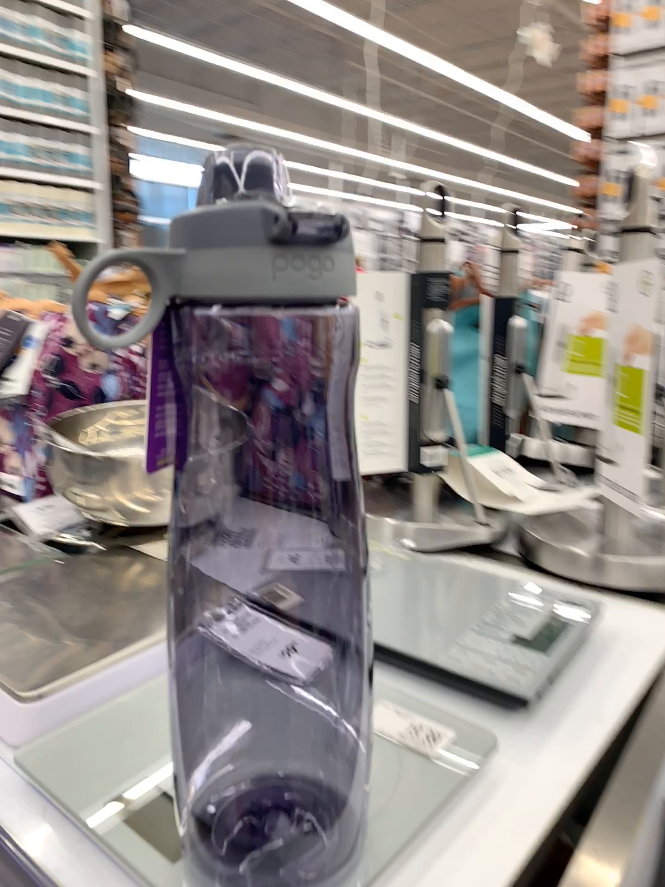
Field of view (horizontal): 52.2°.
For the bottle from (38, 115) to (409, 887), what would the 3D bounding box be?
[{"bbox_3d":[-0.043,0.044,0.290,0.100,0.309,0.100,1,12,0],"label":"bottle"}]
